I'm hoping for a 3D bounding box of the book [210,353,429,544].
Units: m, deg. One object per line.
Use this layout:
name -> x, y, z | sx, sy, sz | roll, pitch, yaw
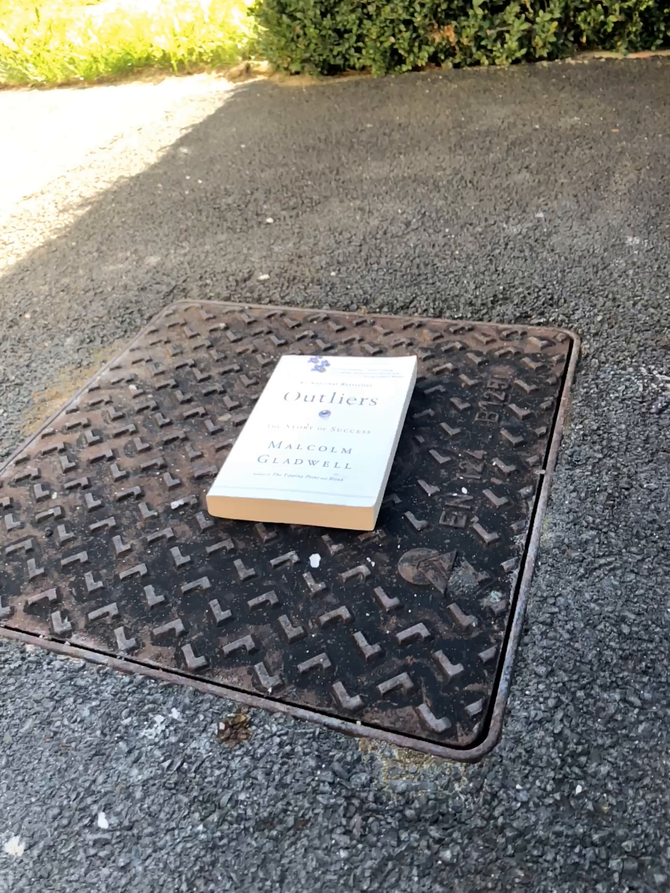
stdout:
book -> -0.003, -0.009, 0.637 | 0.139, 0.030, 0.211 | 4, 40, 14
